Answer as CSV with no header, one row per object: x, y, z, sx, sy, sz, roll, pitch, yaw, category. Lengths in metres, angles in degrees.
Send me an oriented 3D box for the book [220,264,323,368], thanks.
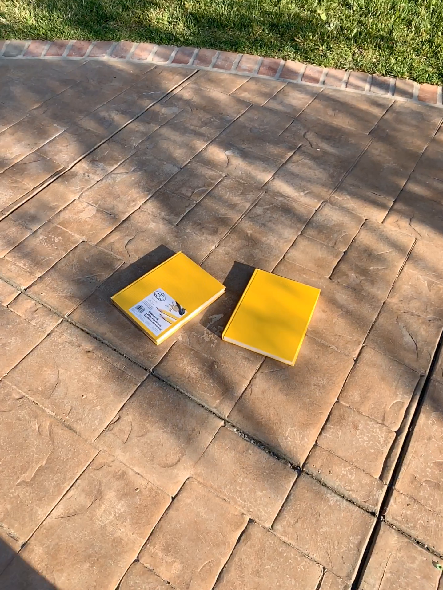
0.159,0.055,1.392,0.230,0.040,0.291,19,55,14,book

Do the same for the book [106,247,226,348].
-0.171,-0.003,1.422,0.290,0.040,0.231,-38,62,-25,book
